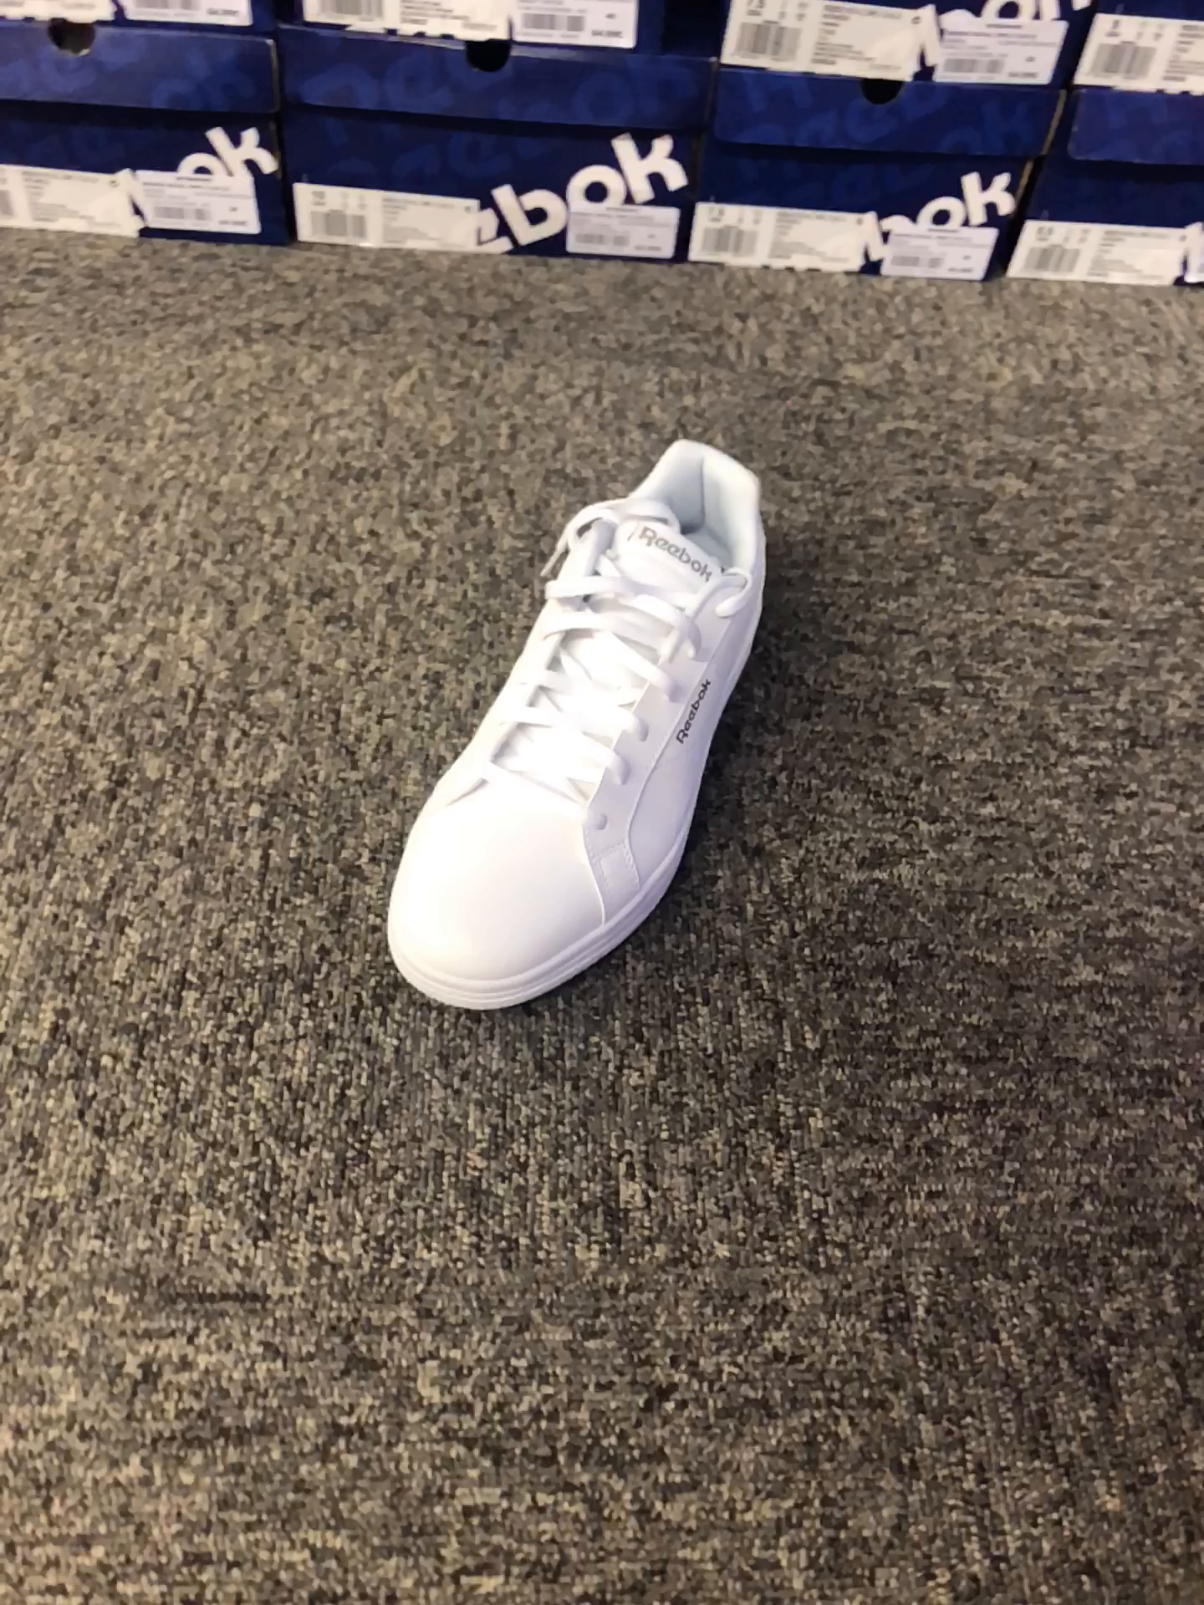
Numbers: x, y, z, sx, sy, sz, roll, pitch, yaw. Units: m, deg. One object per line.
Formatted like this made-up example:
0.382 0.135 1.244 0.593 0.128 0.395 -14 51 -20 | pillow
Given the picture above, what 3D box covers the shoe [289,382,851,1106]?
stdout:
-0.001 -0.032 0.523 0.100 0.100 0.261 22 60 12 | shoe
